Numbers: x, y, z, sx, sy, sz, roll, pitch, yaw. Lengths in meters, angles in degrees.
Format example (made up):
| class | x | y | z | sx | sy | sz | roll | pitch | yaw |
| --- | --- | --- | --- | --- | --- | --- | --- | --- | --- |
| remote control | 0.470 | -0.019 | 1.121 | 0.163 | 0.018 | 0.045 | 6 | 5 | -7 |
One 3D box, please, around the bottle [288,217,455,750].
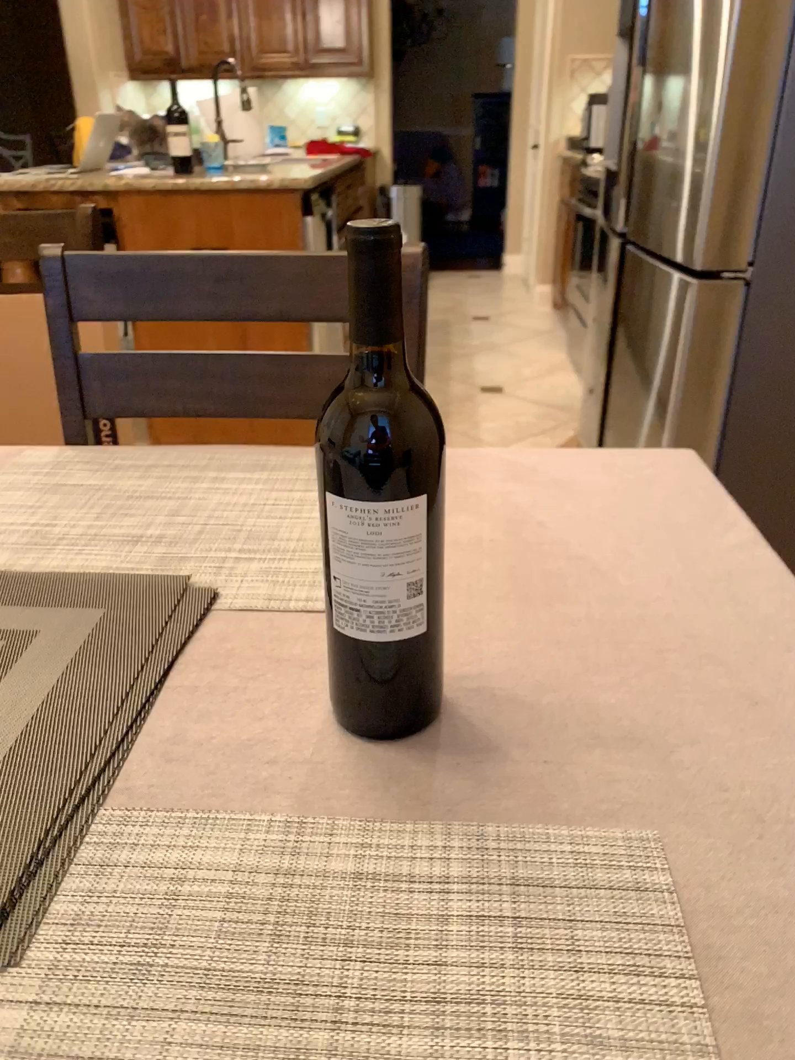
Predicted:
| class | x | y | z | sx | sy | sz | roll | pitch | yaw |
| --- | --- | --- | --- | --- | --- | --- | --- | --- | --- |
| bottle | -0.009 | -0.018 | 0.496 | 0.080 | 0.314 | 0.080 | -1 | 26 | 0 |
